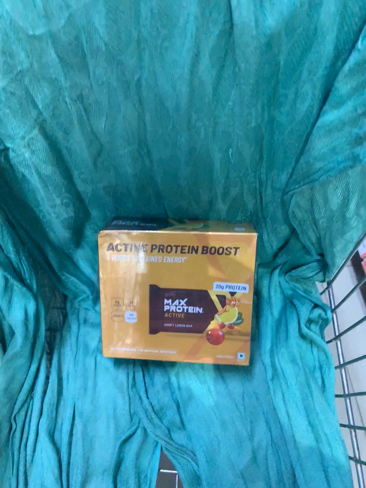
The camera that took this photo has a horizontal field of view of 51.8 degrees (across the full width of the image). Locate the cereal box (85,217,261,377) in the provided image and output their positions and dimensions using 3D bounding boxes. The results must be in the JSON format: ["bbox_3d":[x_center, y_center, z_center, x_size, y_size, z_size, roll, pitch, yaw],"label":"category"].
[{"bbox_3d":[-0.008,0.049,0.393,0.160,0.080,0.140,2,102,5],"label":"cereal box"}]
